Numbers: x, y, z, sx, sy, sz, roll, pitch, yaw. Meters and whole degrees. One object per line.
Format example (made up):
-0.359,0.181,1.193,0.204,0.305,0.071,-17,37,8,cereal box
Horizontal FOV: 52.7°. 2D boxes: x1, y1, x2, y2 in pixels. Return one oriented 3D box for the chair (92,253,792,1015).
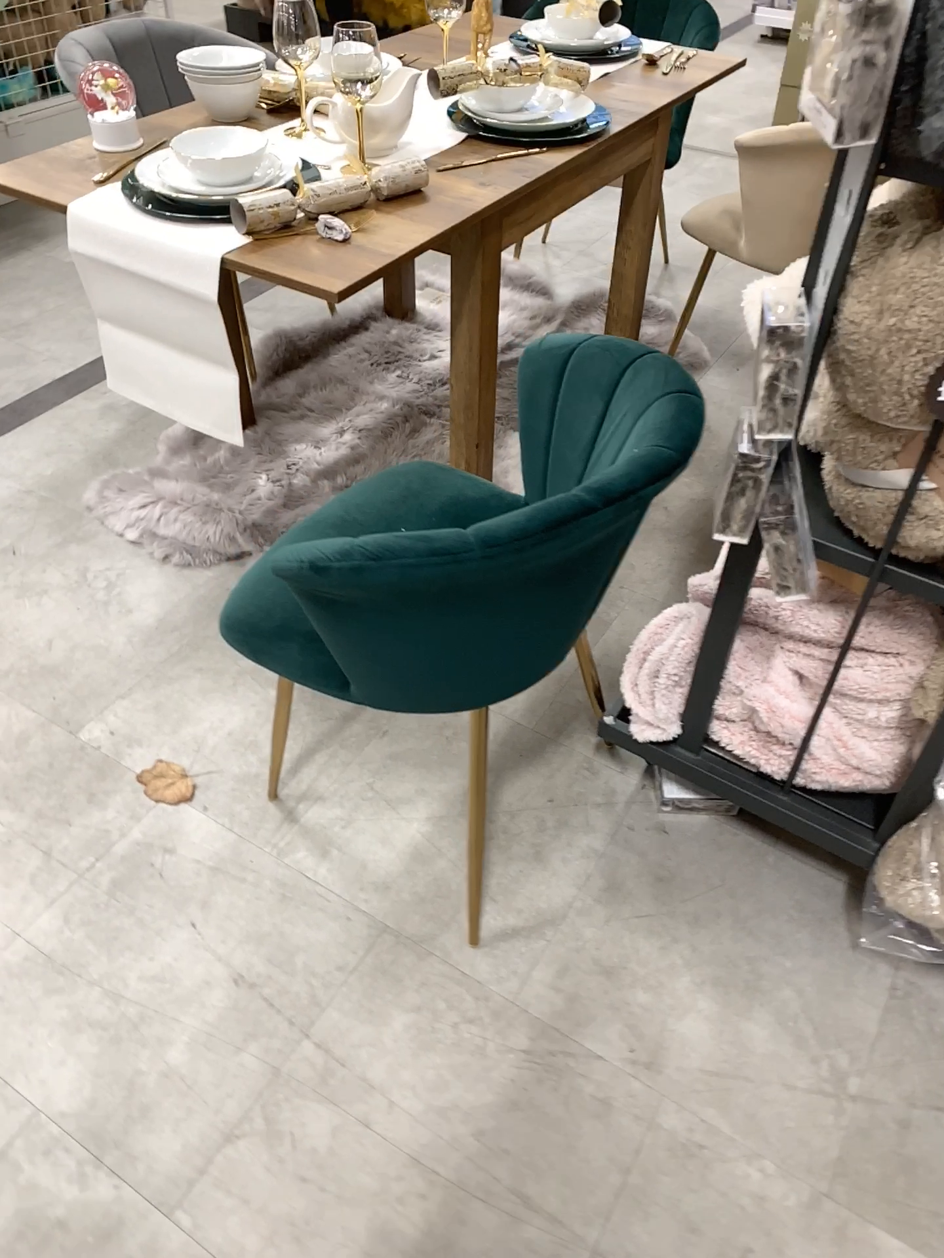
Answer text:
-0.016,-0.012,1.297,0.571,0.692,0.551,24,48,23,chair
